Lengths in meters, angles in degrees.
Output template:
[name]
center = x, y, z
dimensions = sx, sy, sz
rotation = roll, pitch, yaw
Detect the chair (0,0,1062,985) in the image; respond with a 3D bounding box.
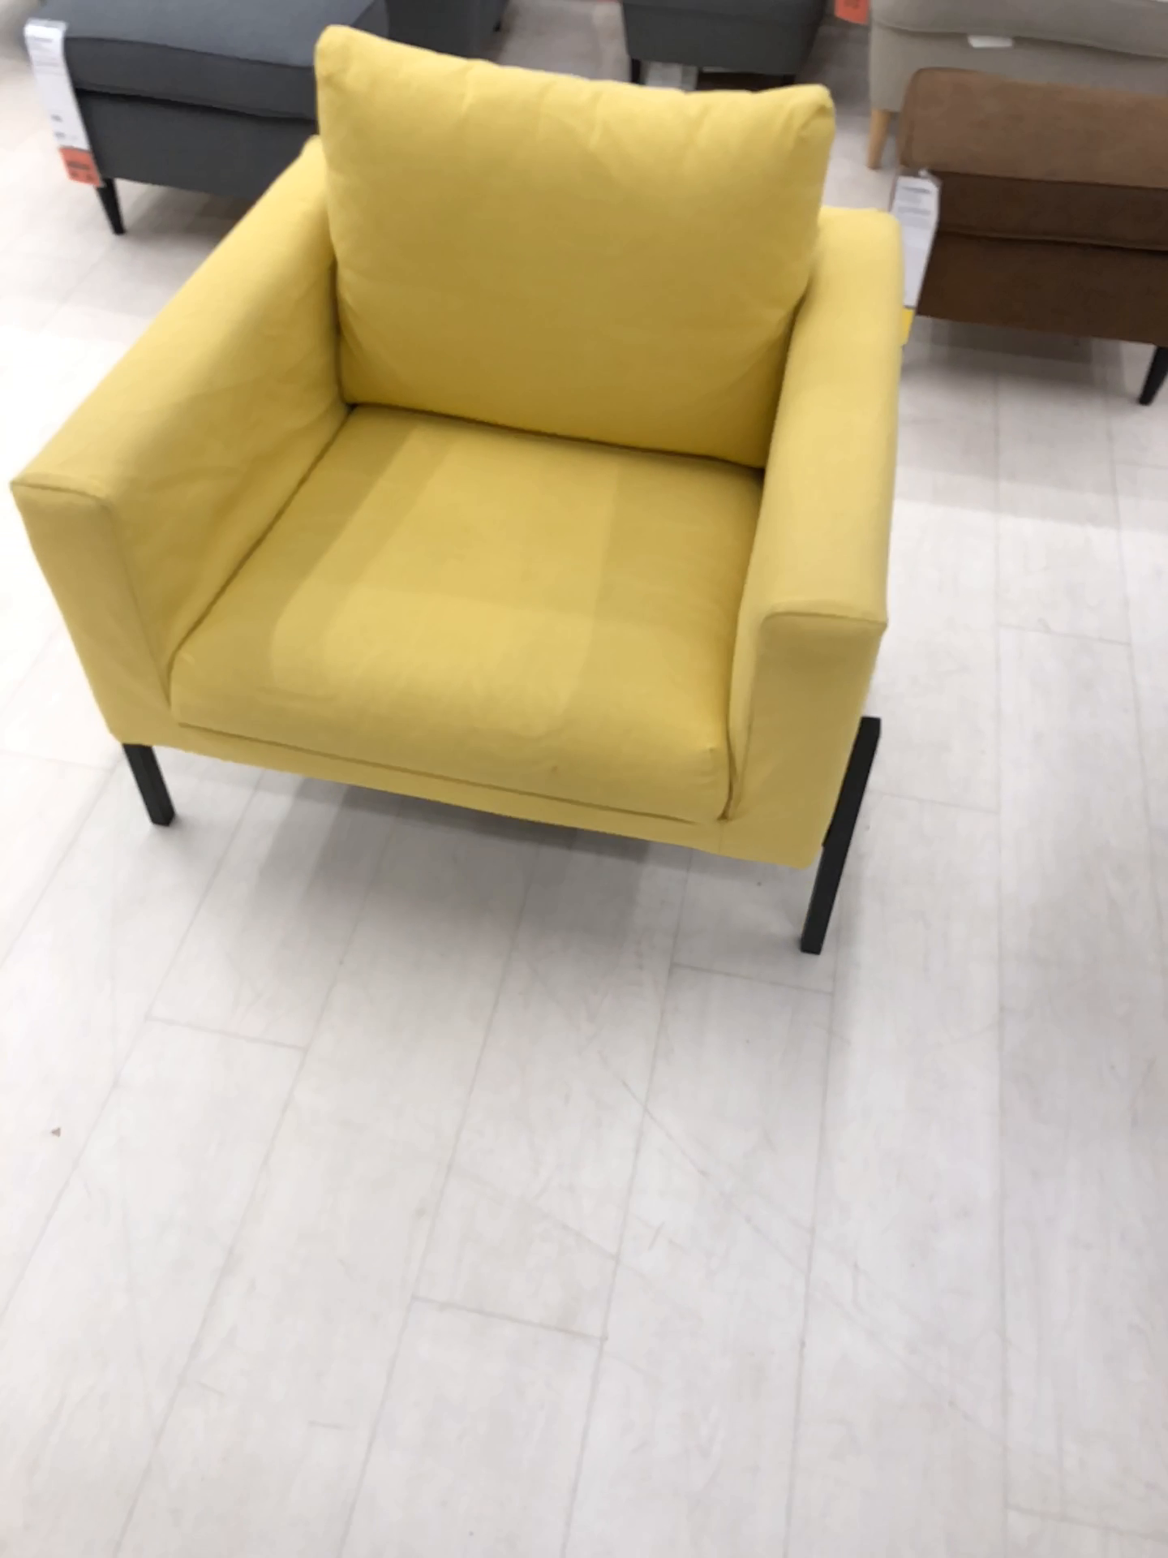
[chair]
center = -0.067, -0.341, 1.491
dimensions = 0.980, 0.758, 0.692
rotation = 10, 51, 7
